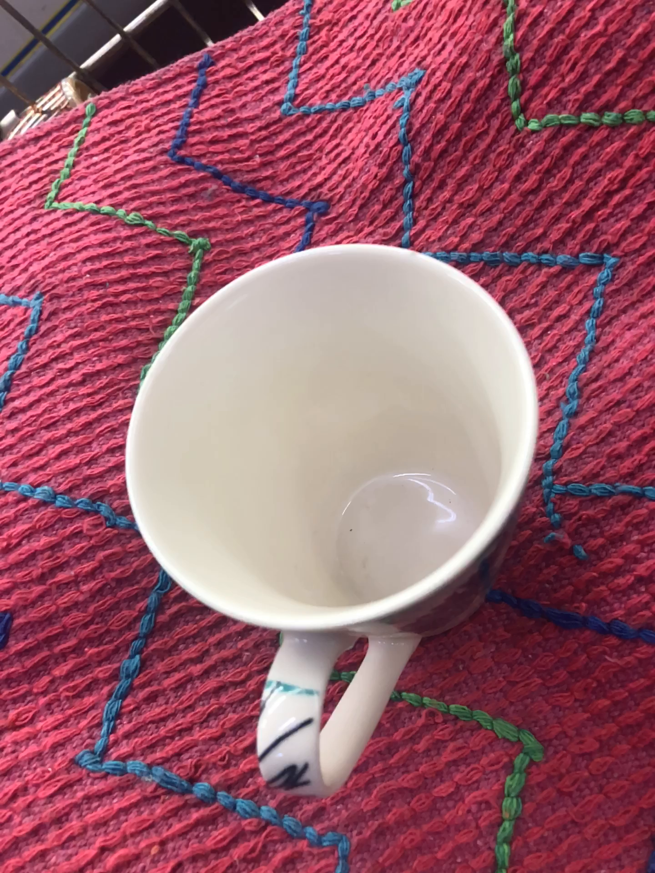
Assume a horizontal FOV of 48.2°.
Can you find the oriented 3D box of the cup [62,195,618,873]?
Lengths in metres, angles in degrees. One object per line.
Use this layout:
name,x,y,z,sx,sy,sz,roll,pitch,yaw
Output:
cup,0.011,0.023,0.163,0.090,0.080,0.110,-3,75,19
